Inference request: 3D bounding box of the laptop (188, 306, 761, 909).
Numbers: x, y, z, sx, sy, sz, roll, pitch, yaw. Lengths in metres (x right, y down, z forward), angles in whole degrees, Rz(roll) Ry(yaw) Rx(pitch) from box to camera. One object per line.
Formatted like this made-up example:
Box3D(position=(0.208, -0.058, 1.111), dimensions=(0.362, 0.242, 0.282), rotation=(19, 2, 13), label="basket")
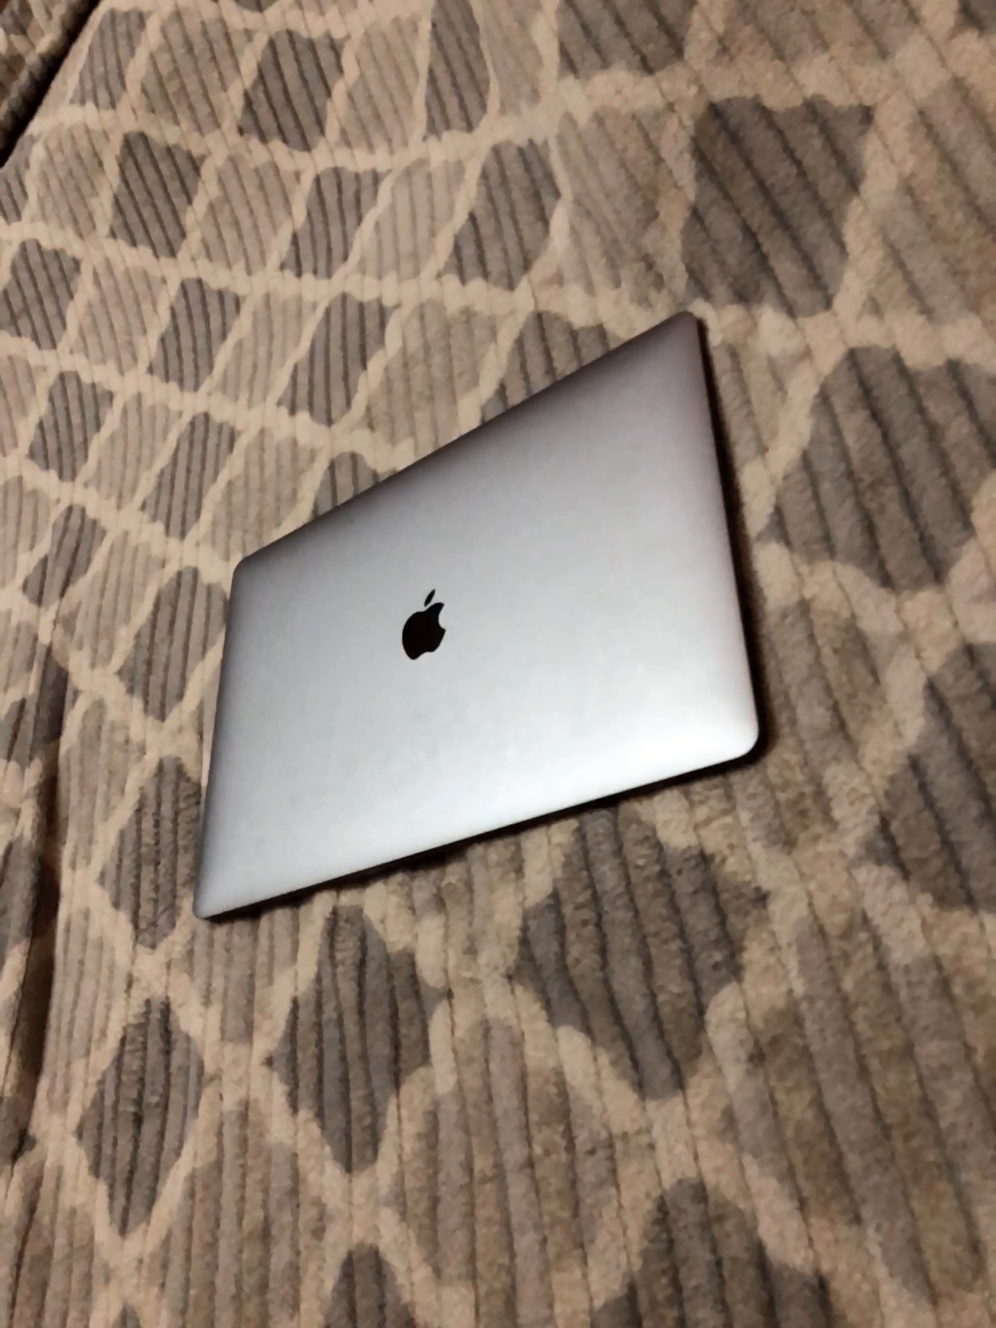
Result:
Box3D(position=(-0.039, -0.020, 0.593), dimensions=(0.359, 0.007, 0.246), rotation=(-22, 54, 33), label="laptop")
